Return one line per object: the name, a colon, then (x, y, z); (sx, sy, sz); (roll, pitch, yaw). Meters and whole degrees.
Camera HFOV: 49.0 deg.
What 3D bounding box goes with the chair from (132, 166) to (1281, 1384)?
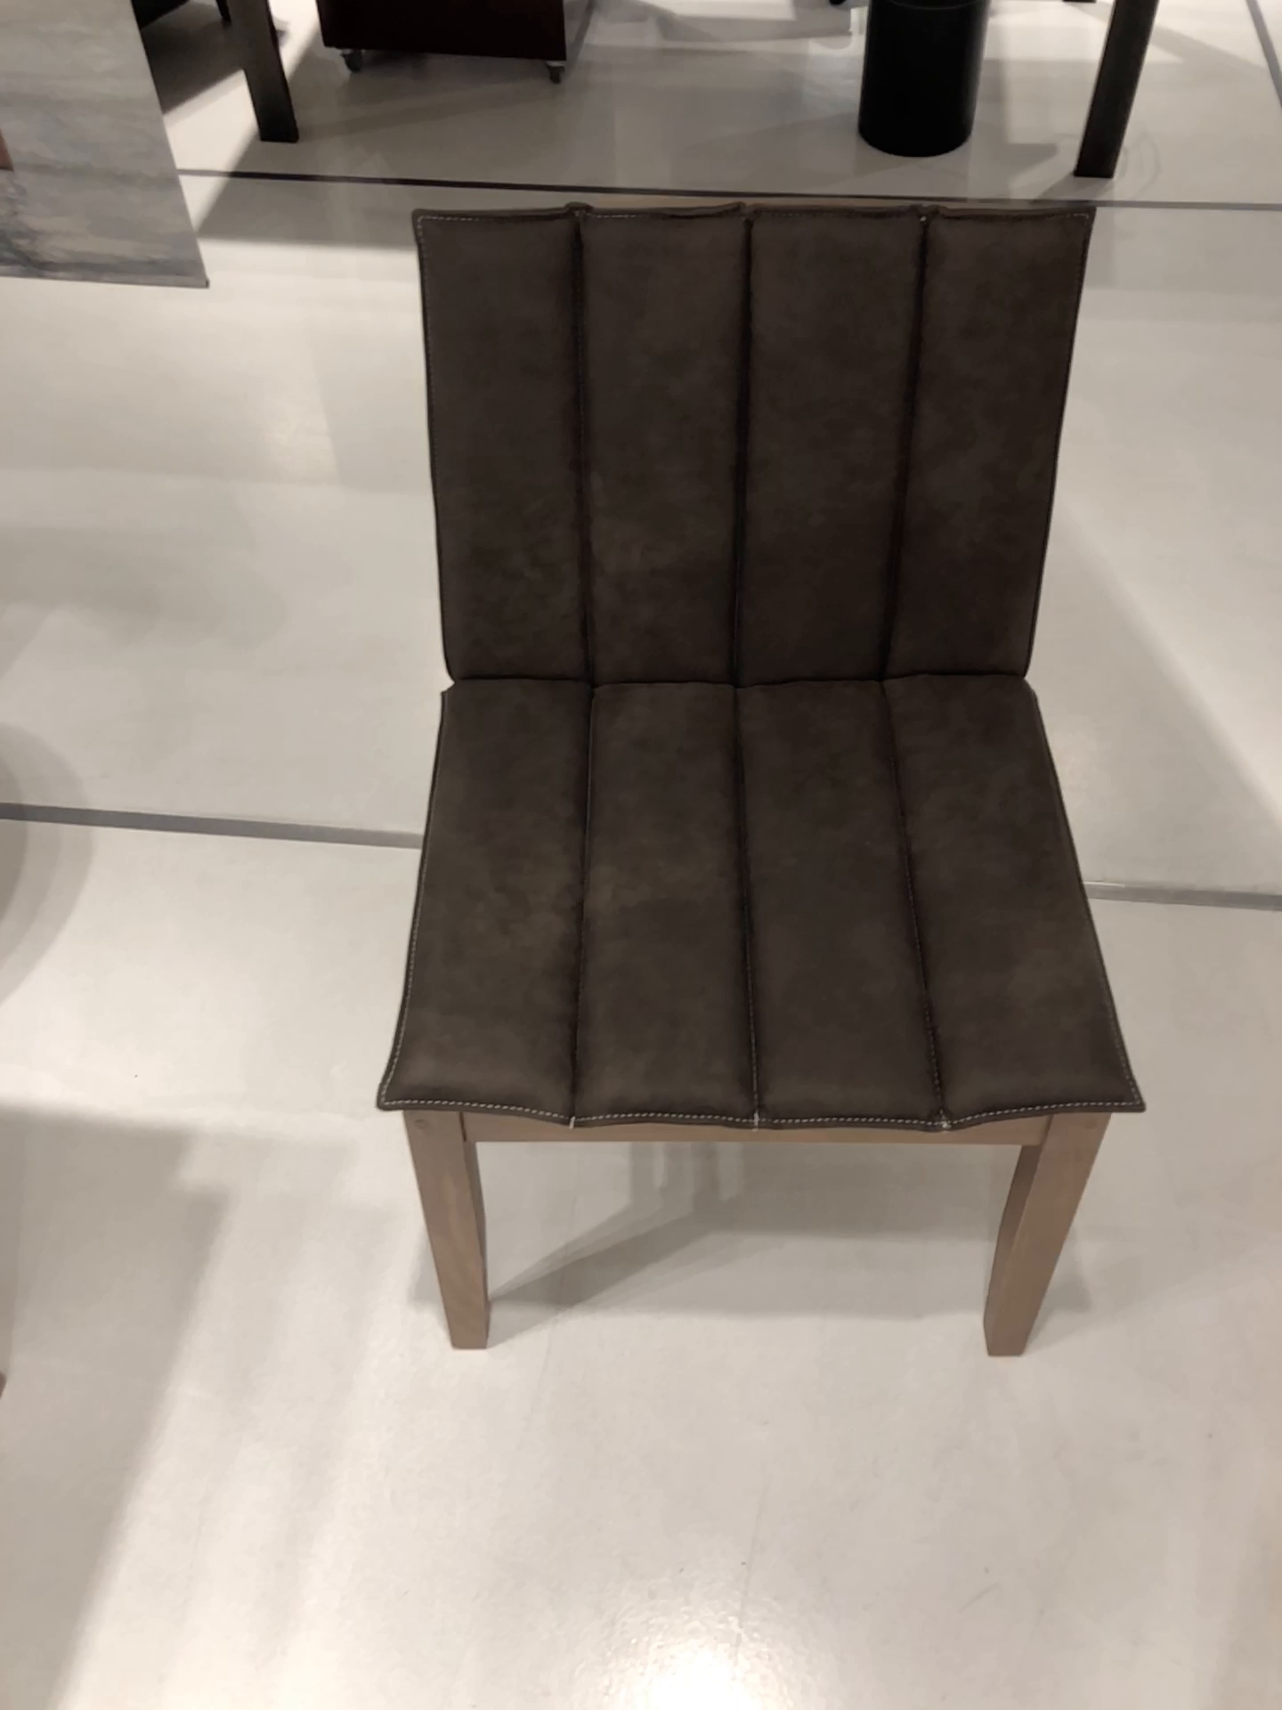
chair: (0.066, -0.002, 1.097); (0.540, 0.776, 0.573); (0, 53, 3)
